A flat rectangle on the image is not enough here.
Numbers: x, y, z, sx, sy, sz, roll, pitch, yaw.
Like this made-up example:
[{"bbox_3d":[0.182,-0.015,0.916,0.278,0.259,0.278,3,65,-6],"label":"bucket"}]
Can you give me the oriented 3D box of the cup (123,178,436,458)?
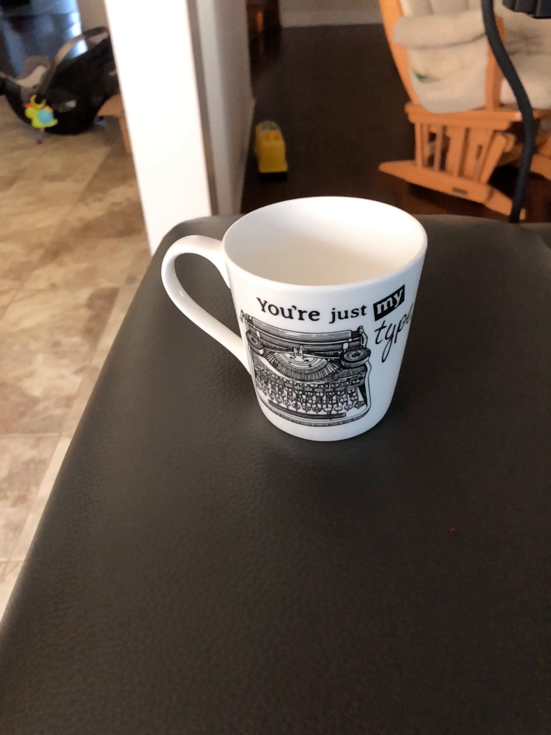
[{"bbox_3d":[0.008,-0.027,0.292,0.117,0.089,0.081,9,39,14],"label":"cup"}]
